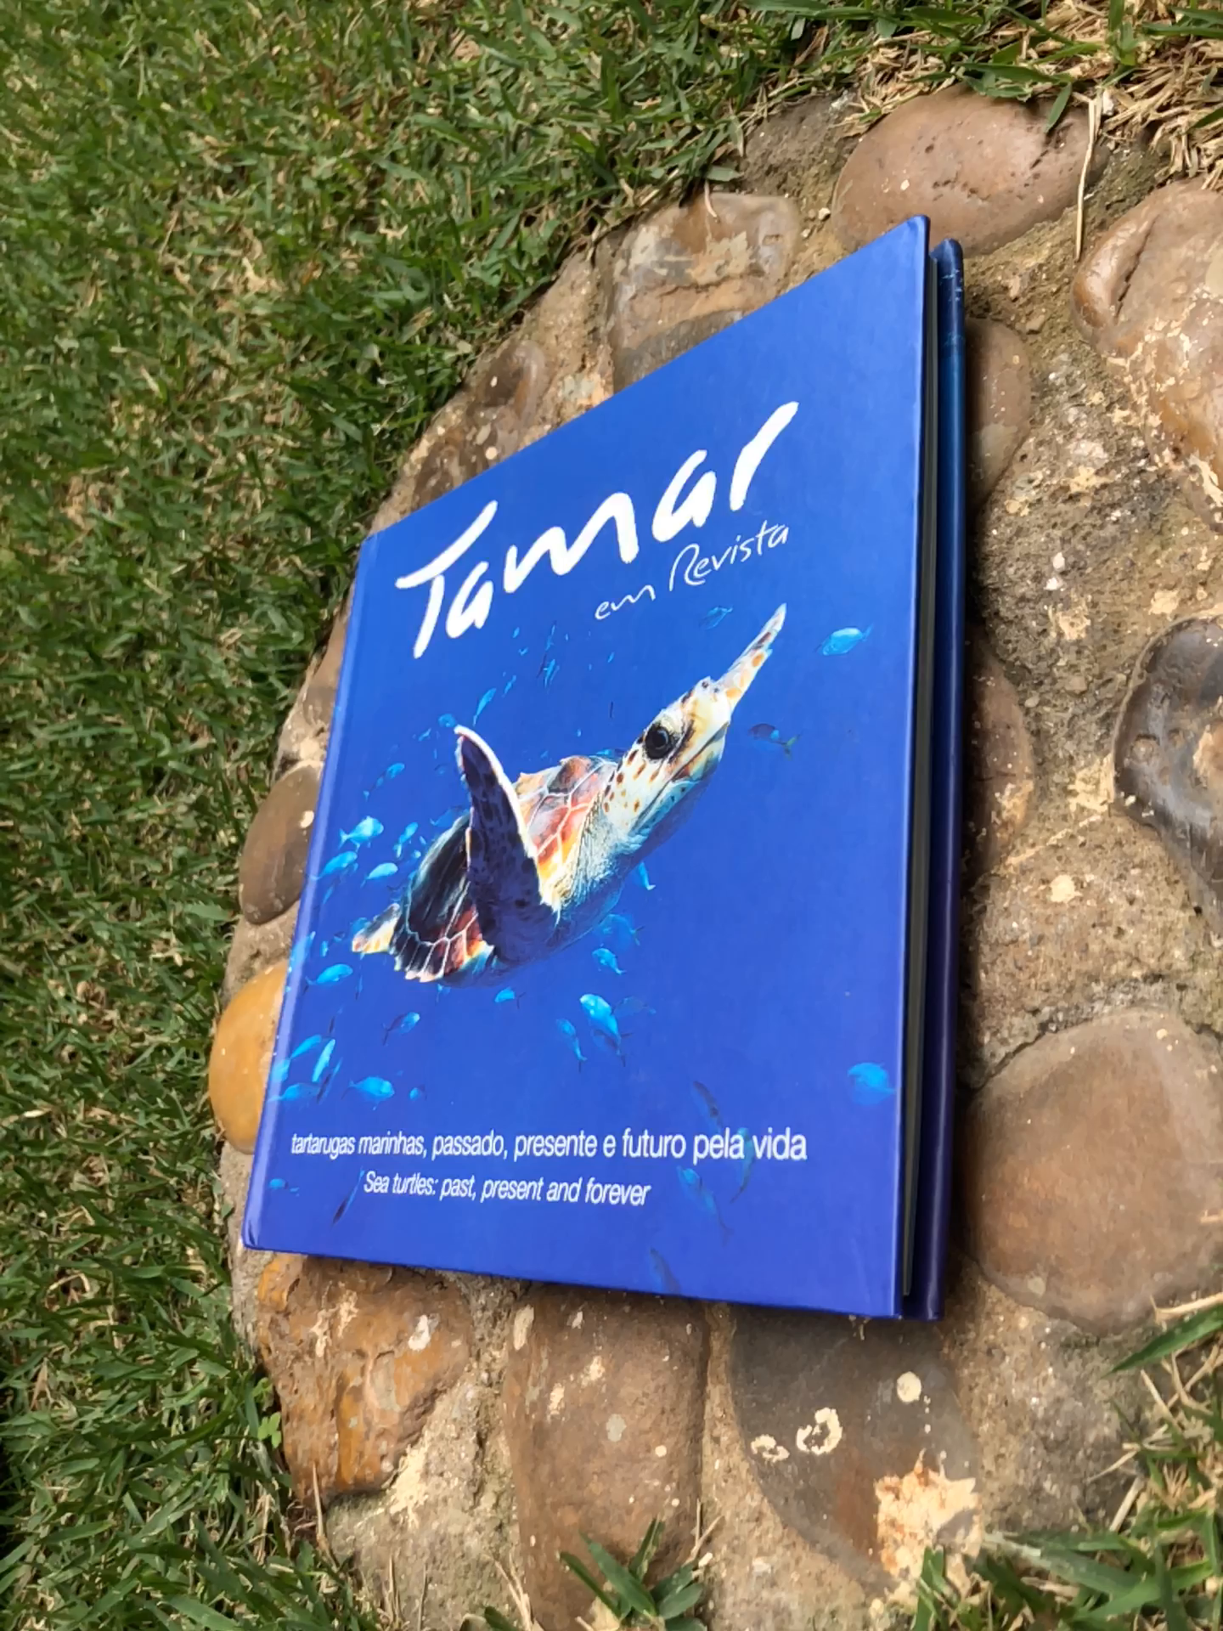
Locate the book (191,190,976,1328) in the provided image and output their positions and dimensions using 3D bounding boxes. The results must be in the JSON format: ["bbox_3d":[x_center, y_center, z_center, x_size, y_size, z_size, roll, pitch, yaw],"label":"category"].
[{"bbox_3d":[-0.015,-0.002,0.259,0.179,0.020,0.167,-14,63,47],"label":"book"}]
